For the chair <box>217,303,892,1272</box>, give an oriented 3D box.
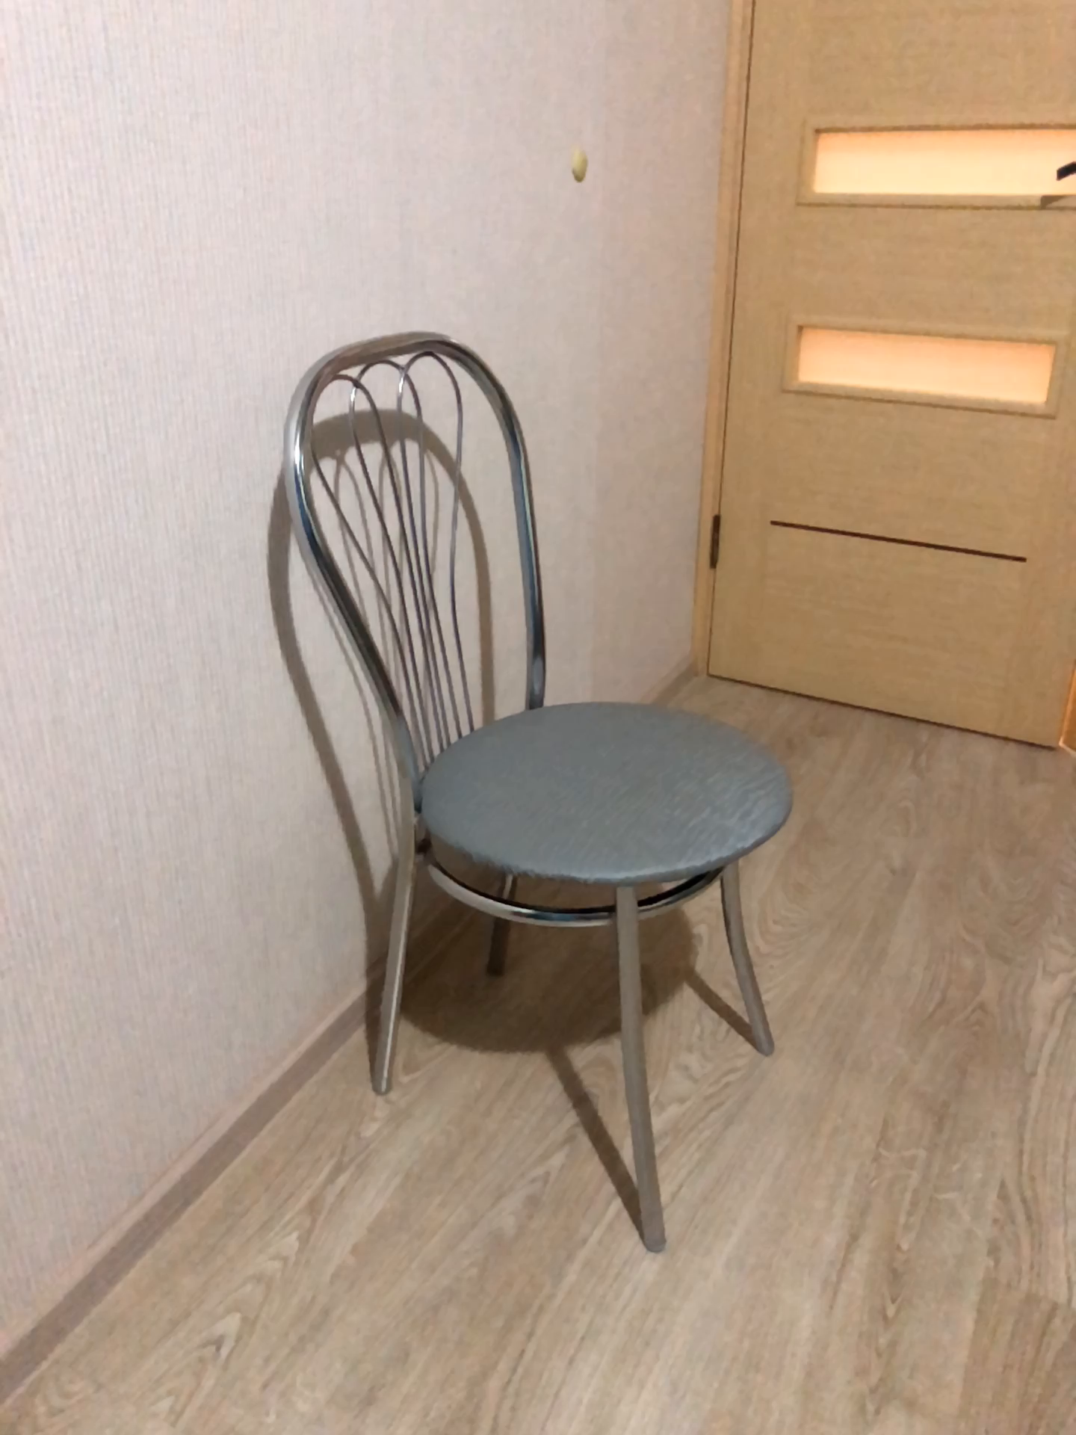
[{"bbox_3d":[0.030,0.033,1.225,0.471,0.825,0.402,14,28,28],"label":"chair"}]
